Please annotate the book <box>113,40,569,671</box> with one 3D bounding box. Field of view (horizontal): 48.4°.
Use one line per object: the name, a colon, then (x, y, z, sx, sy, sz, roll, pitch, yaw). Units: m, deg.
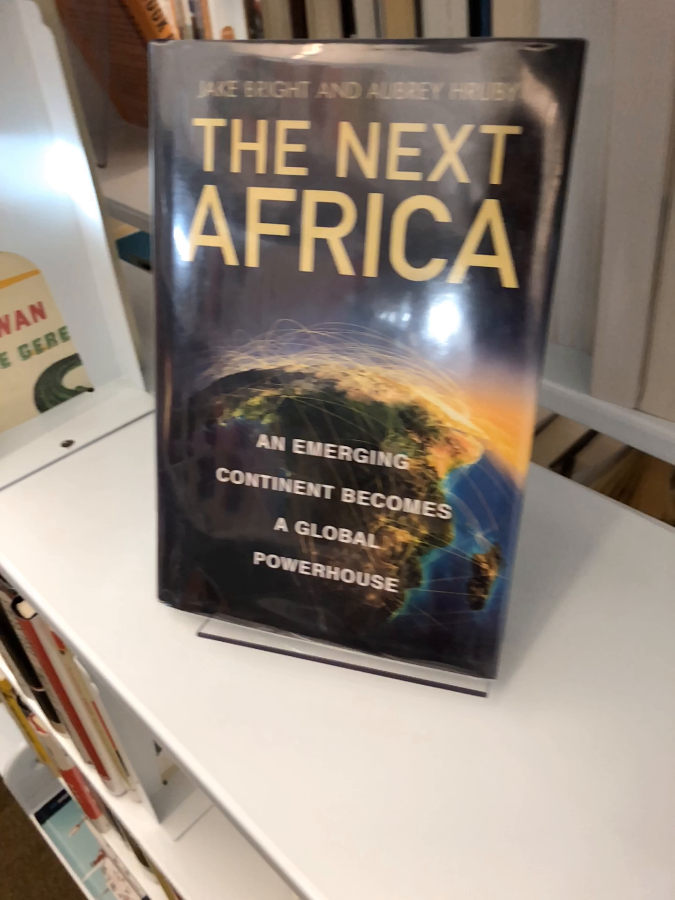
book: (-0.008, -0.034, 0.284, 0.153, 0.211, 0.030, 9, 17, 16)
